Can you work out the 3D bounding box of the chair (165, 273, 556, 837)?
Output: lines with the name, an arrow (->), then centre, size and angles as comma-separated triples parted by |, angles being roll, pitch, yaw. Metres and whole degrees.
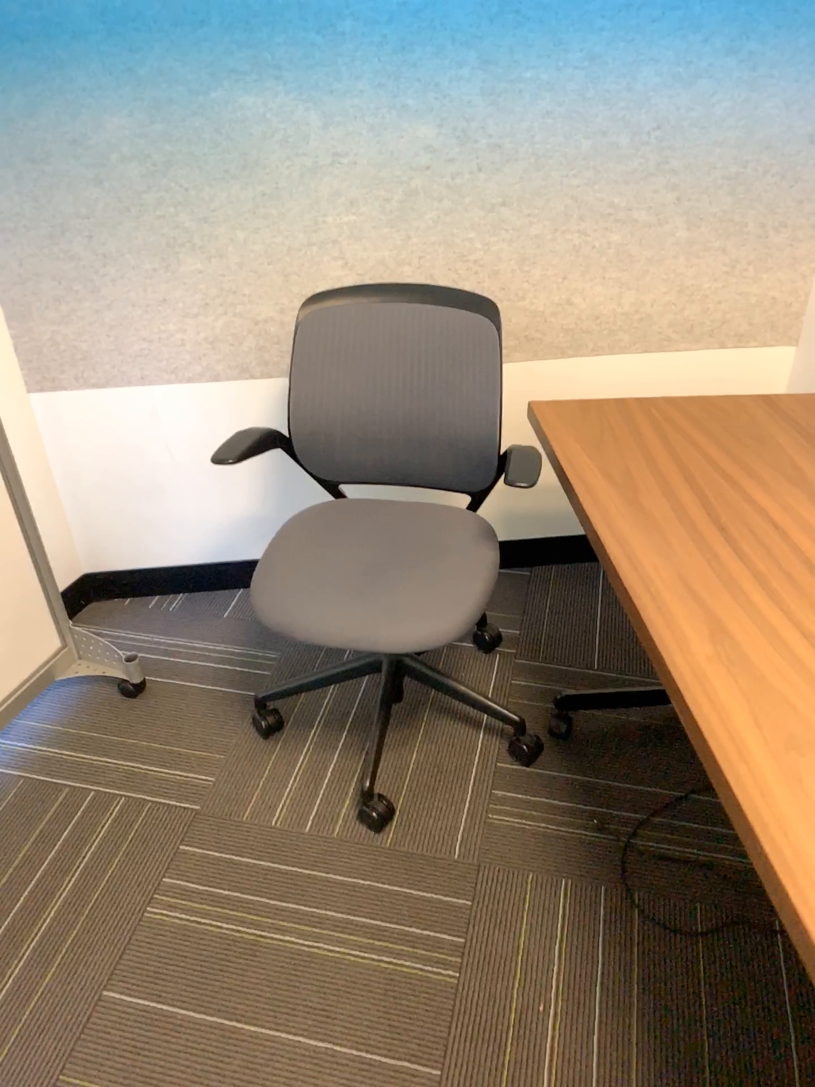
chair -> -0.040, 0.010, 1.679 | 0.541, 0.935, 0.533 | 8, 32, 13
